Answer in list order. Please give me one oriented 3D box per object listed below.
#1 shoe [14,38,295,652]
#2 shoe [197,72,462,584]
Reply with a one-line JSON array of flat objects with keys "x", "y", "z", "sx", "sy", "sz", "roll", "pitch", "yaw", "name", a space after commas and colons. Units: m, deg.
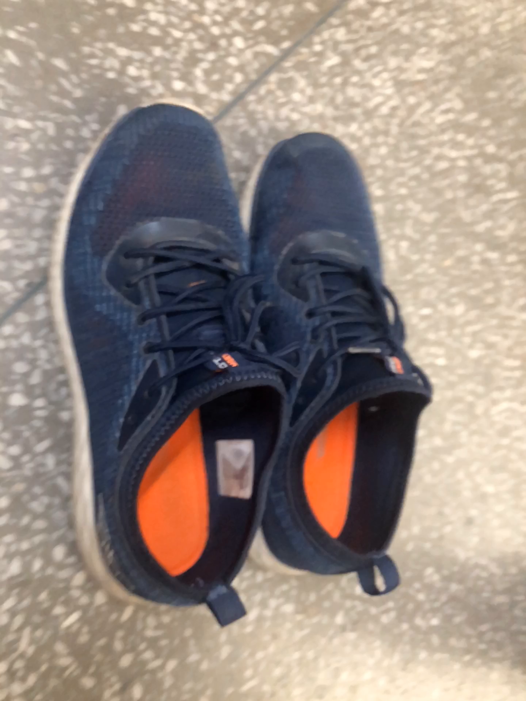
[{"x": -0.061, "y": -0.003, "z": 0.311, "sx": 0.113, "sy": 0.100, "sz": 0.249, "roll": -2, "pitch": 90, "yaw": -27, "name": "shoe"}, {"x": 0.036, "y": -0.011, "z": 0.360, "sx": 0.124, "sy": 0.100, "sz": 0.249, "roll": 0, "pitch": 89, "yaw": -27, "name": "shoe"}]
